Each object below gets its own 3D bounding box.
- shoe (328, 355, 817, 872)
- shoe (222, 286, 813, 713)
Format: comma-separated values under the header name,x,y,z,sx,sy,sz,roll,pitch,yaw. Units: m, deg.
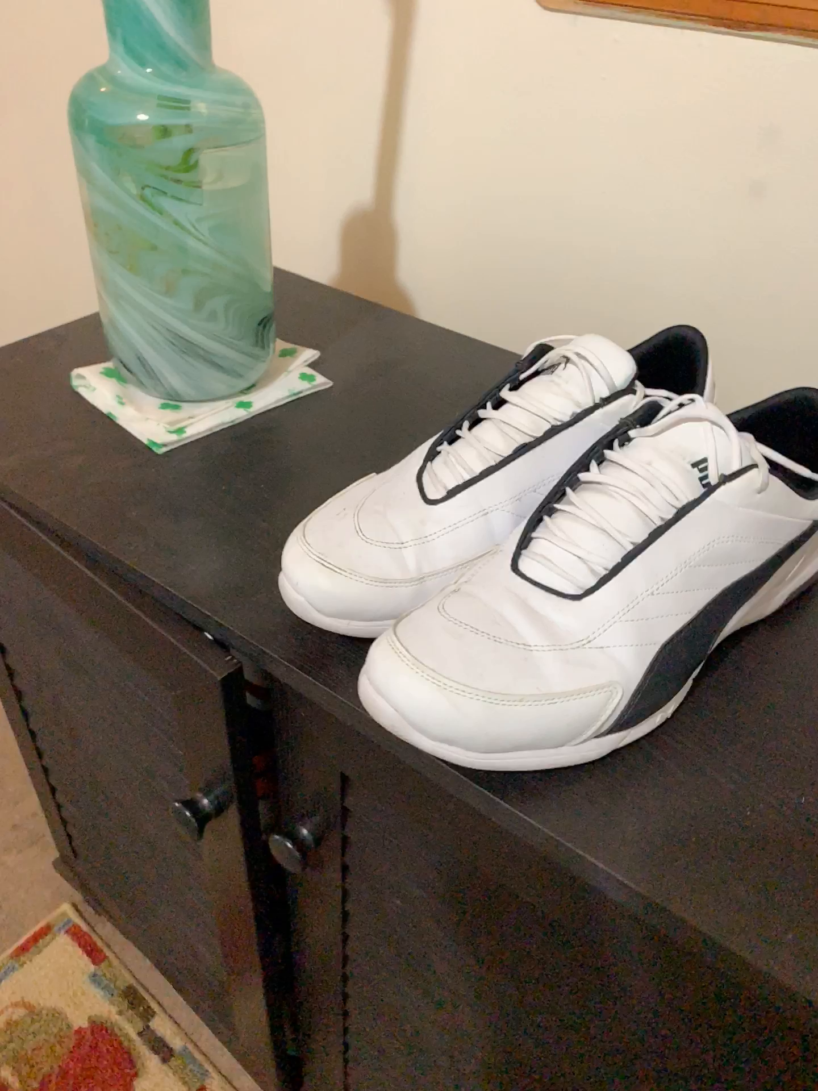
name,x,y,z,sx,sy,sz,roll,pitch,yaw
shoe,0.117,0.011,0.389,0.291,0.089,0.101,-24,45,-25
shoe,0.062,-0.042,0.448,0.281,0.089,0.121,-24,45,-25
